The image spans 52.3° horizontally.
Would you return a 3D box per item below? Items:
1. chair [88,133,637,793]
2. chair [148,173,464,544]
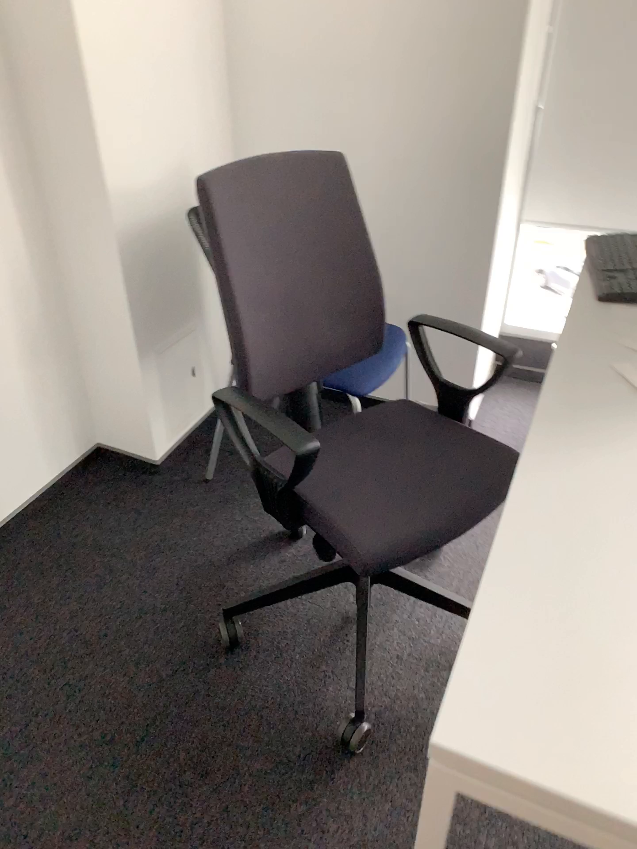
[{"bbox_3d":[0.087,0.015,1.370,0.692,1.004,0.682,-26,41,-33],"label":"chair"},{"bbox_3d":[0.000,-0.244,1.972,0.610,0.805,0.673,16,36,23],"label":"chair"}]
